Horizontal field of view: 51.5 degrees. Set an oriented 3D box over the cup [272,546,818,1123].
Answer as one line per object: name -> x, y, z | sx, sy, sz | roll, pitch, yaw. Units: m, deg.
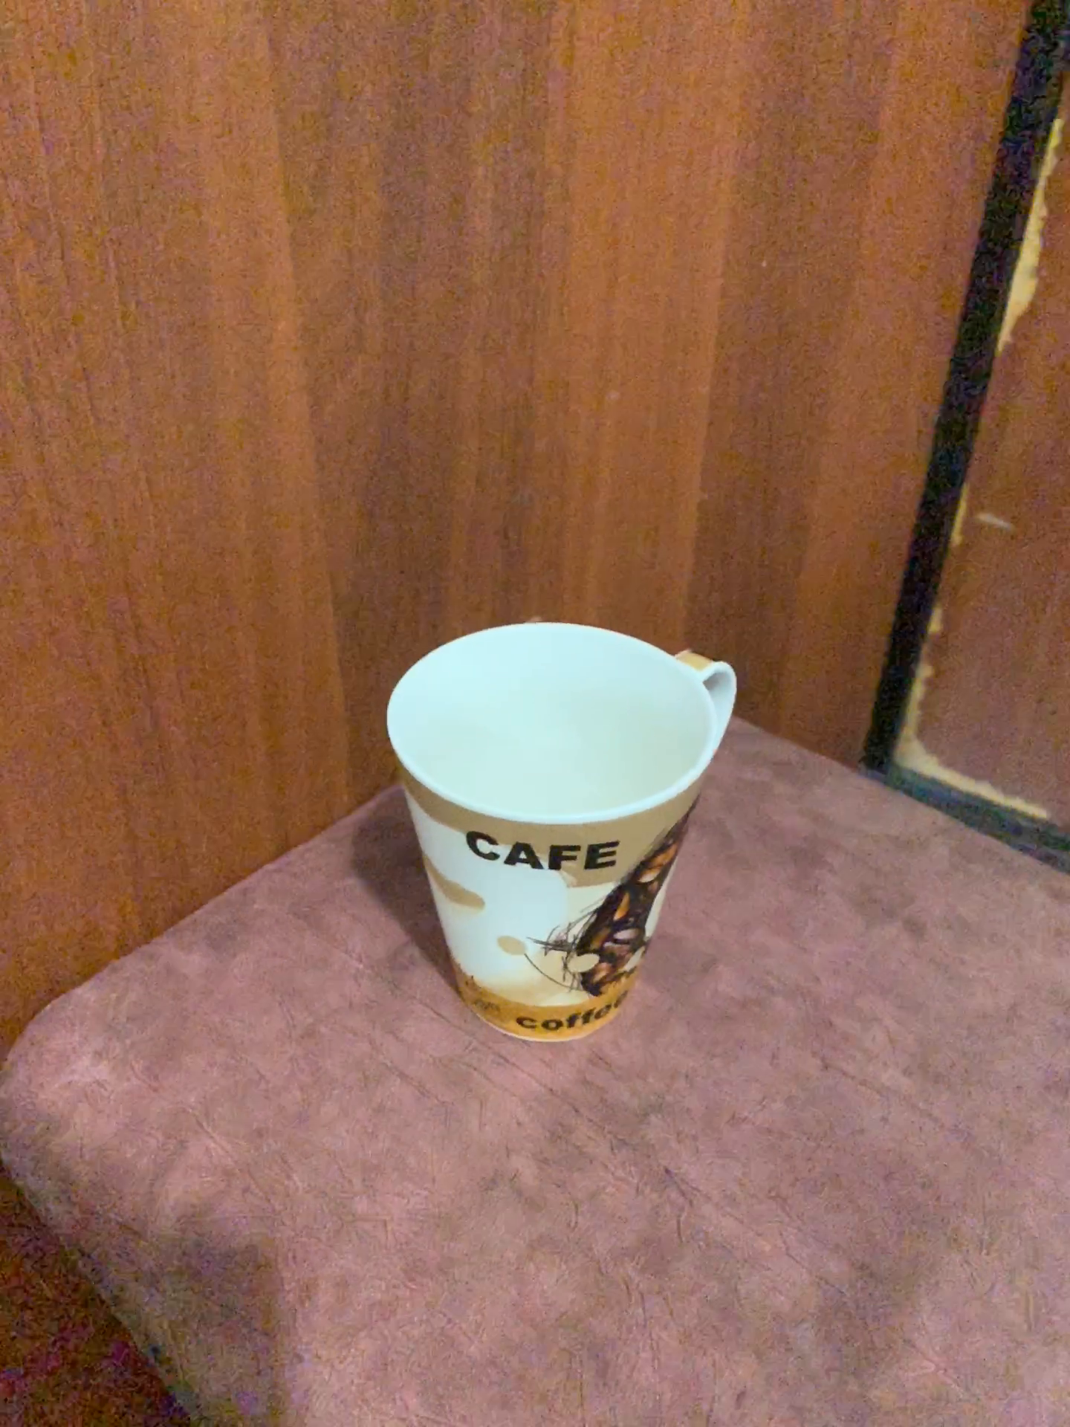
cup -> 0.005, 0.027, 0.330 | 0.095, 0.091, 0.120 | 28, 44, 32
